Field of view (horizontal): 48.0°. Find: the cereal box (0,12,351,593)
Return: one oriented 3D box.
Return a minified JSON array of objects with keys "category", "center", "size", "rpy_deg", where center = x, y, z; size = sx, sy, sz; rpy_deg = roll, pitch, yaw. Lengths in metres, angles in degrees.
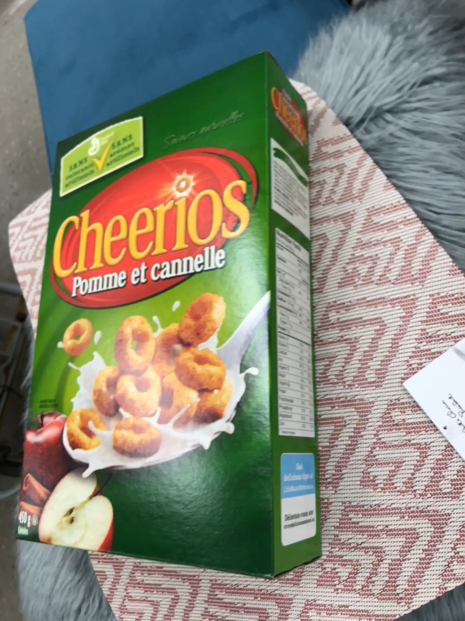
[{"category":"cereal box","center":[-0.046,-0.004,0.347],"size":[0.211,0.070,0.310],"rpy_deg":[-8,74,27]}]
